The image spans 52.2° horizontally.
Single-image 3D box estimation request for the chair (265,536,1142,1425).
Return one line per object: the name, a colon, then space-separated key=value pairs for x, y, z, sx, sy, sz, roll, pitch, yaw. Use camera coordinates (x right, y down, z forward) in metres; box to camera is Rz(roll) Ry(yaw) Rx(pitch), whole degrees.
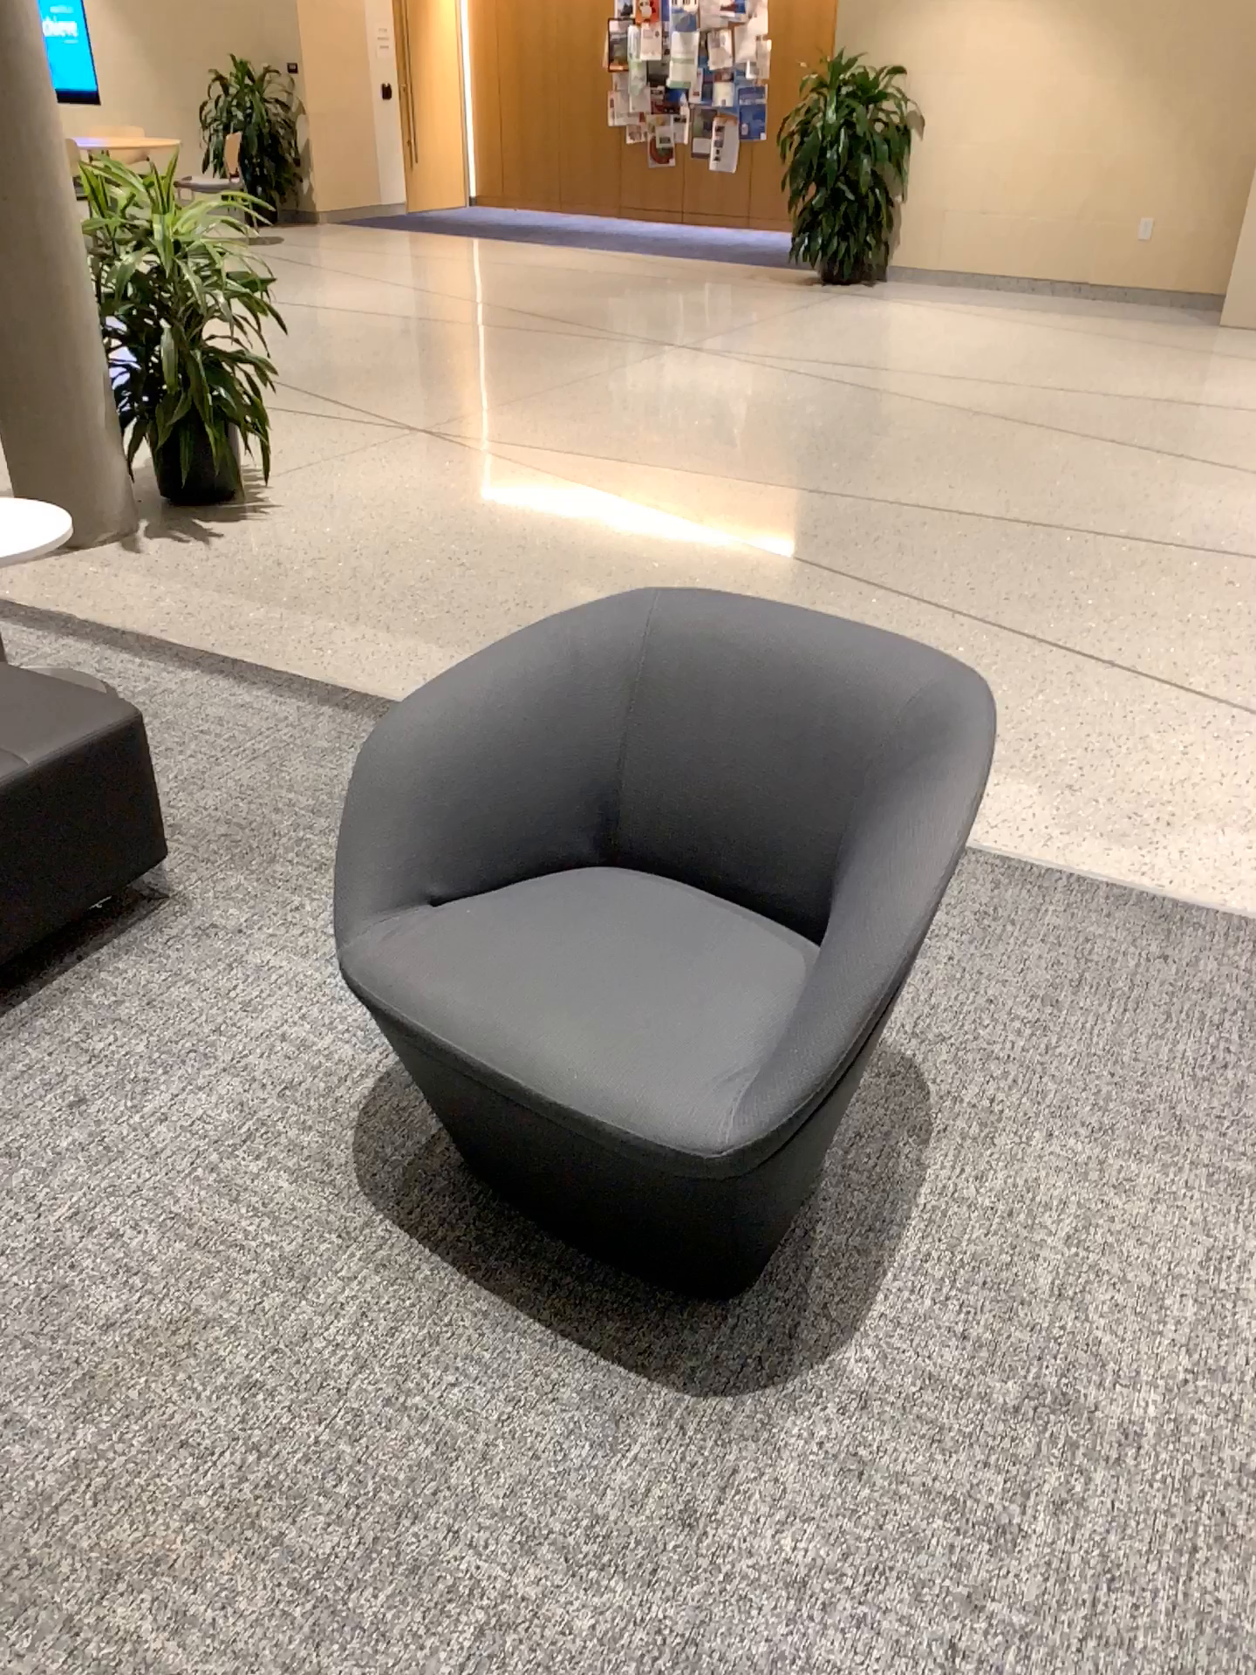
chair: x=0.097 y=0.095 z=1.619 sx=0.780 sy=0.659 sz=0.635 roll=19 pitch=36 yaw=29
